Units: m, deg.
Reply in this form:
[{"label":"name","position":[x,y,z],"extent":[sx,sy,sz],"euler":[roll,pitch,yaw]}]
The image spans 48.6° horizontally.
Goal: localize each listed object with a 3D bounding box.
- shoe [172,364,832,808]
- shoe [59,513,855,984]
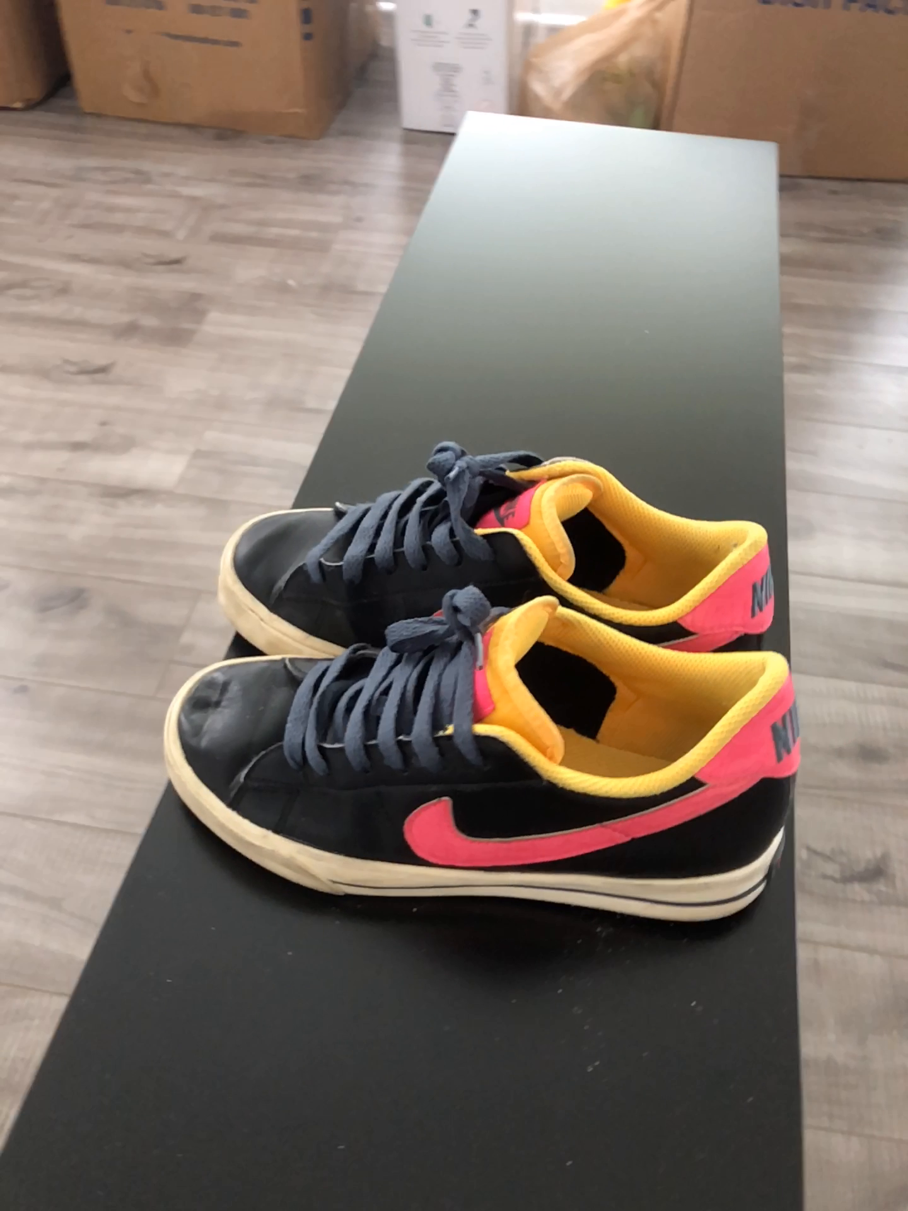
[{"label":"shoe","position":[0.020,-0.013,0.432],"extent":[0.244,0.100,0.095],"euler":[14,46,10]},{"label":"shoe","position":[0.002,0.050,0.370],"extent":[0.244,0.100,0.090],"euler":[9,45,6]}]
